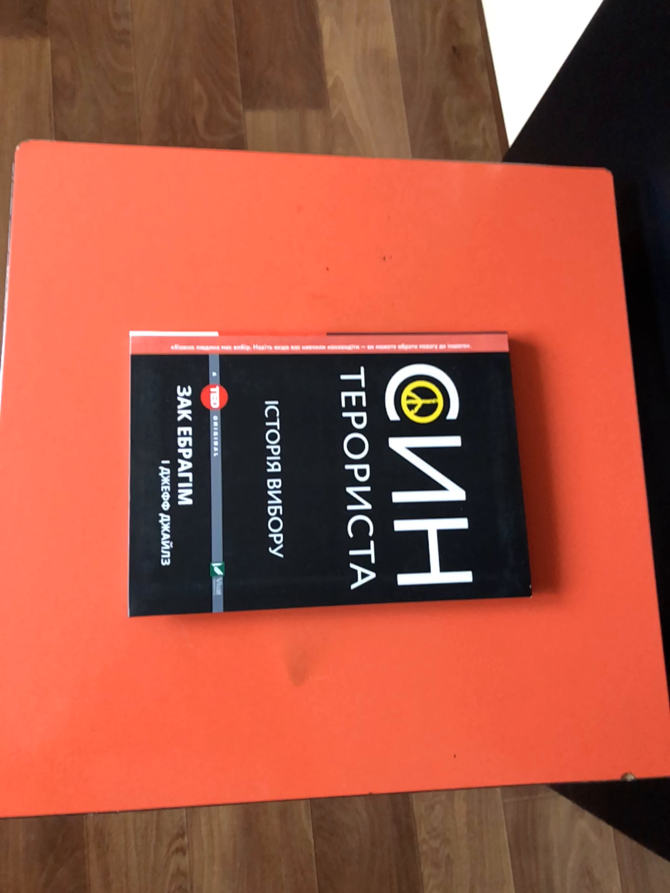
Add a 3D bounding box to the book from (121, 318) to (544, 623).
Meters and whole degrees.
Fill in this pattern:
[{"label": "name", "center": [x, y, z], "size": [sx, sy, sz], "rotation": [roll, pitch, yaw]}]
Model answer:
[{"label": "book", "center": [-0.001, 0.008, 0.376], "size": [0.205, 0.013, 0.150], "rotation": [-1, 79, -7]}]
